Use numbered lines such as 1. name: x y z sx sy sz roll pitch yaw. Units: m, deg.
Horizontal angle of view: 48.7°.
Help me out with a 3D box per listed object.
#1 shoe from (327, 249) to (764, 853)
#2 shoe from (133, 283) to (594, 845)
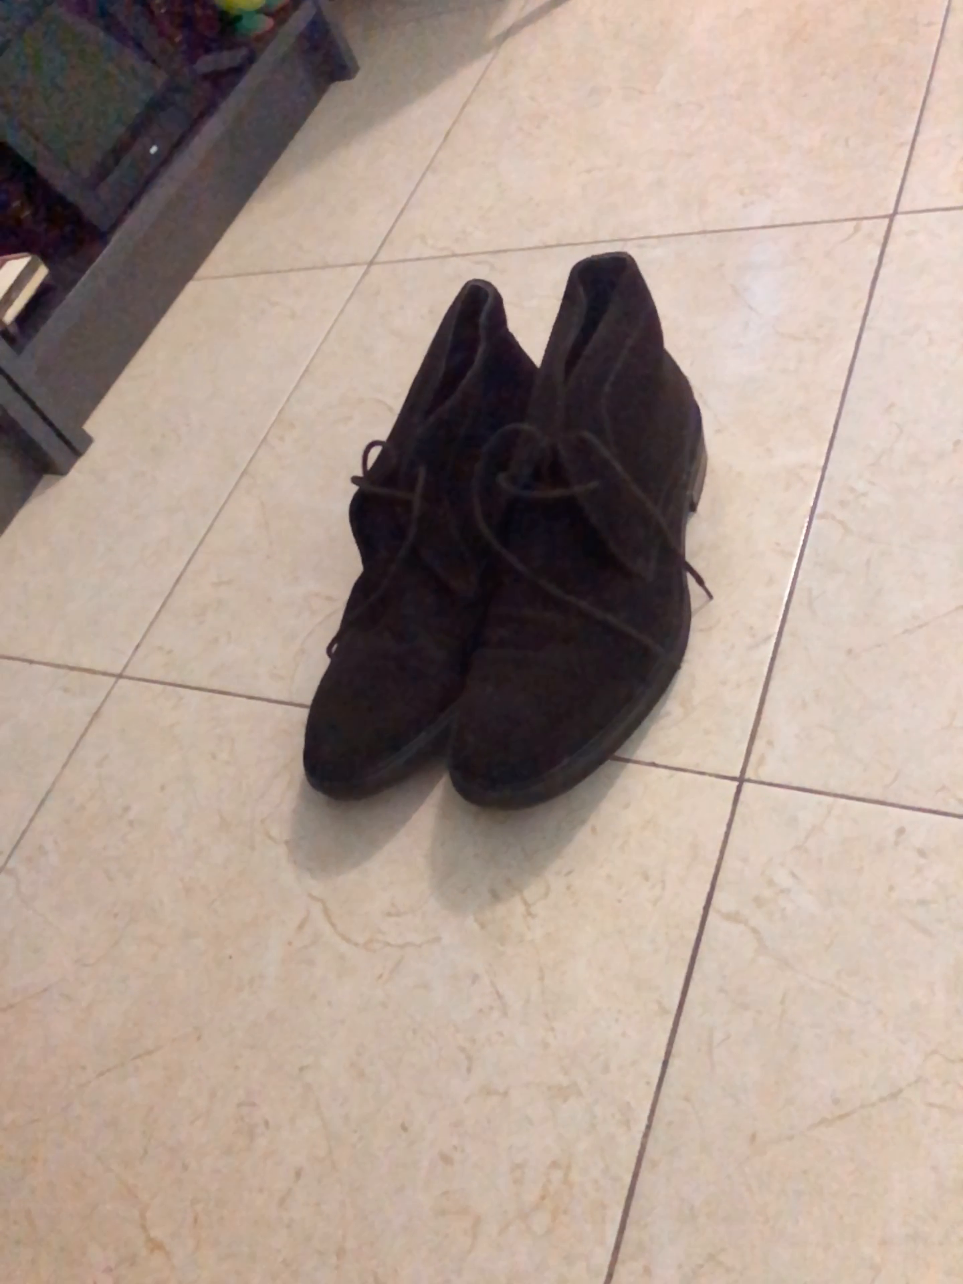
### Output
1. shoe: 0.054 -0.059 0.594 0.110 0.139 0.300 7 59 30
2. shoe: -0.050 -0.055 0.626 0.110 0.129 0.300 7 59 30
